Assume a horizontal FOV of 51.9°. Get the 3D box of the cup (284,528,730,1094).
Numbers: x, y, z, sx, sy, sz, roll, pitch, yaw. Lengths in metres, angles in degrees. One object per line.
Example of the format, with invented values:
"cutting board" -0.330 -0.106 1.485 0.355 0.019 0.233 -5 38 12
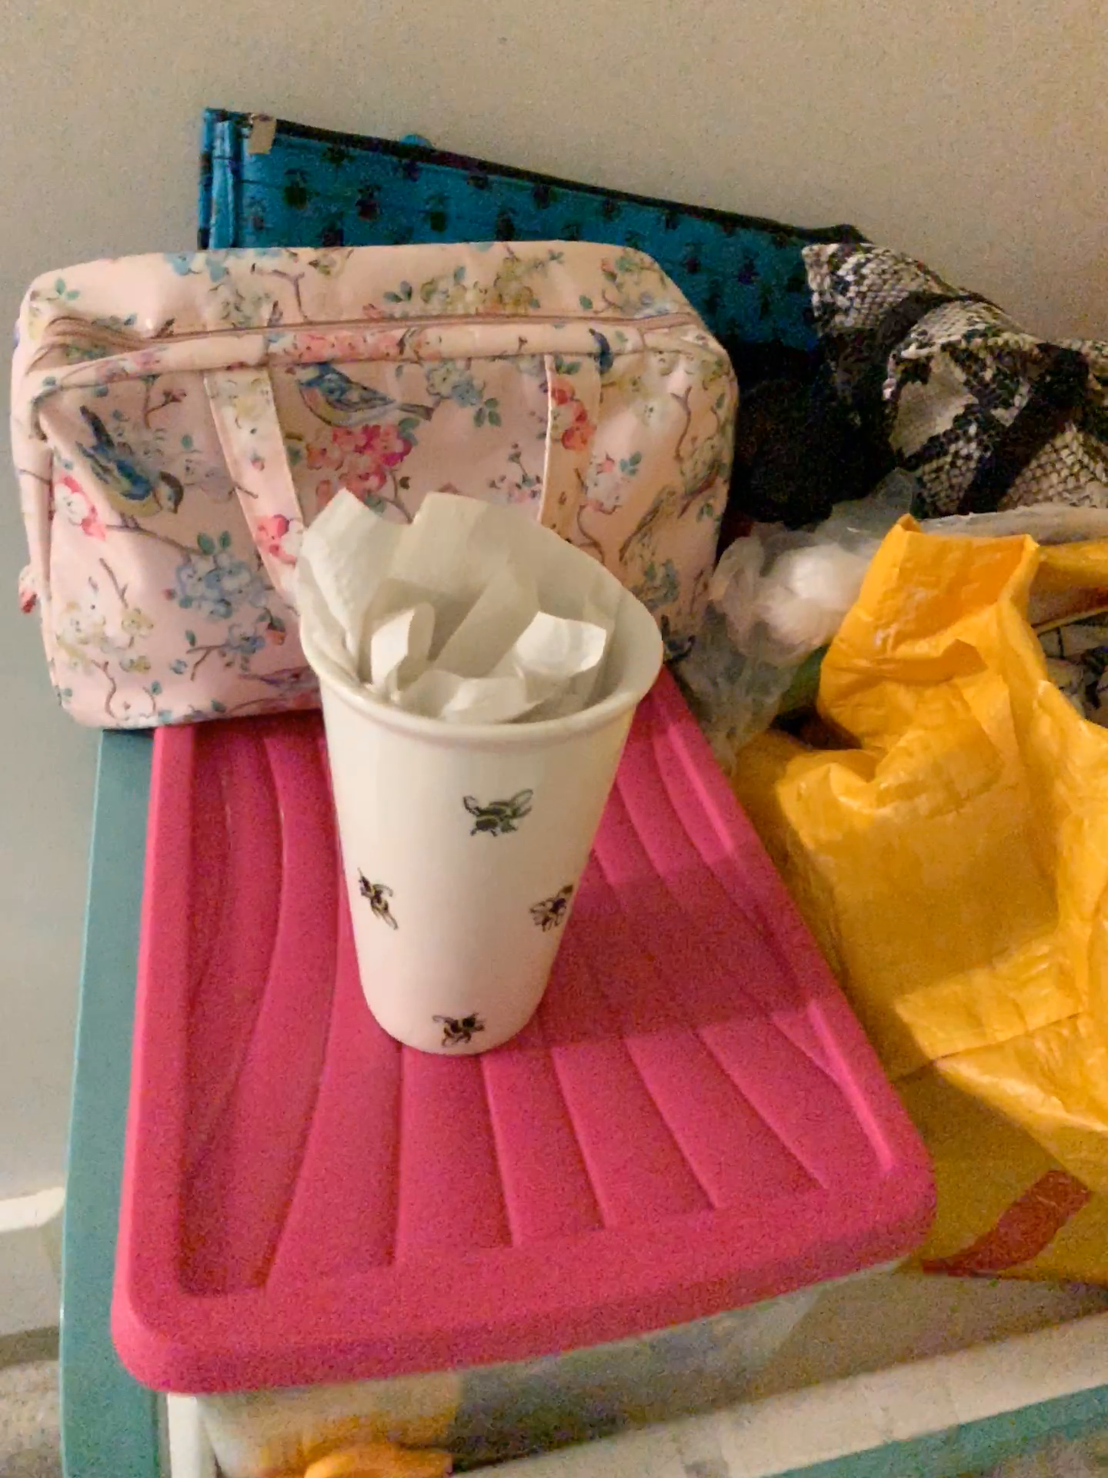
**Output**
"cup" -0.023 0.016 0.321 0.090 0.112 0.099 5 36 -4
